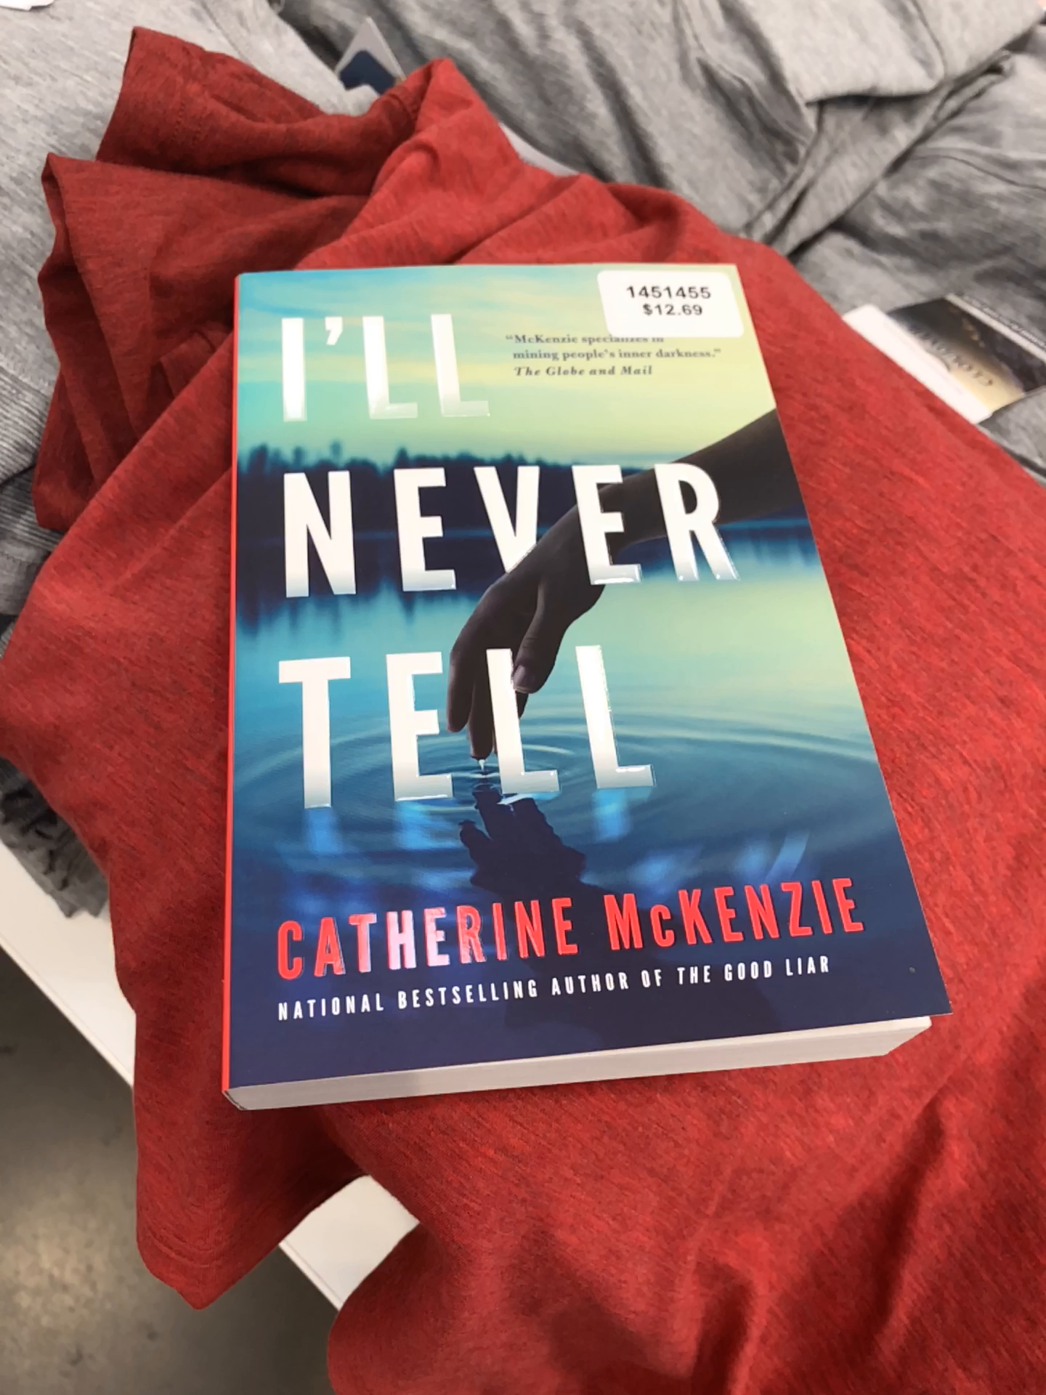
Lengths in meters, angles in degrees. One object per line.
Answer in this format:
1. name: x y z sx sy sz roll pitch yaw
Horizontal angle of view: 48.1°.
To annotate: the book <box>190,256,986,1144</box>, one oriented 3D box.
1. book: 0.001 -0.017 0.272 0.143 0.032 0.209 -3 61 -8
